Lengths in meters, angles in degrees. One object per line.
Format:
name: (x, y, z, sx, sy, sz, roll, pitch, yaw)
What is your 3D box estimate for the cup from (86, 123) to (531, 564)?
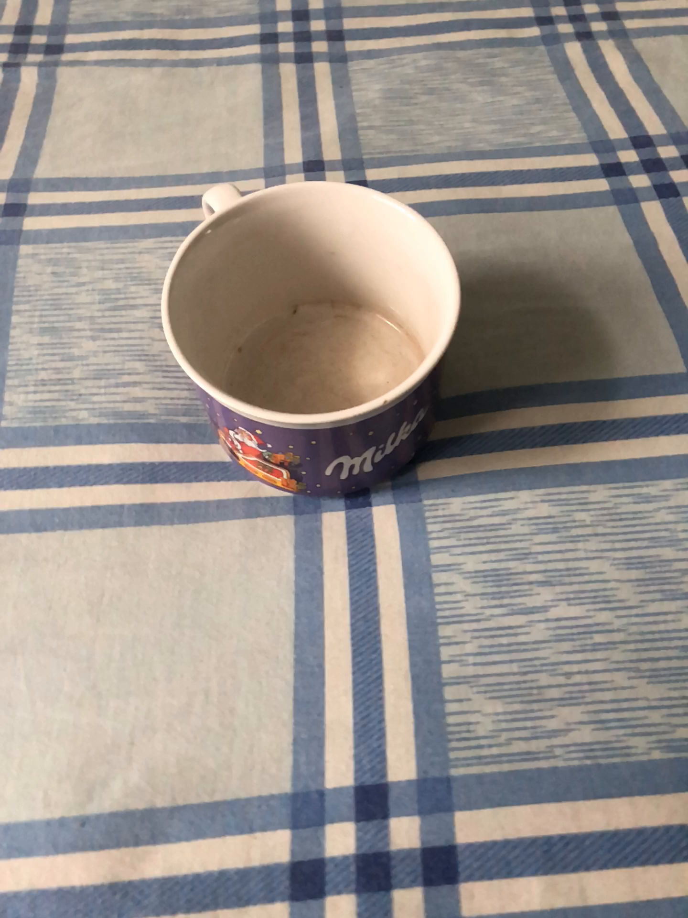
cup: (-0.017, -0.049, 0.293, 0.104, 0.063, 0.130, -28, 62, -15)
